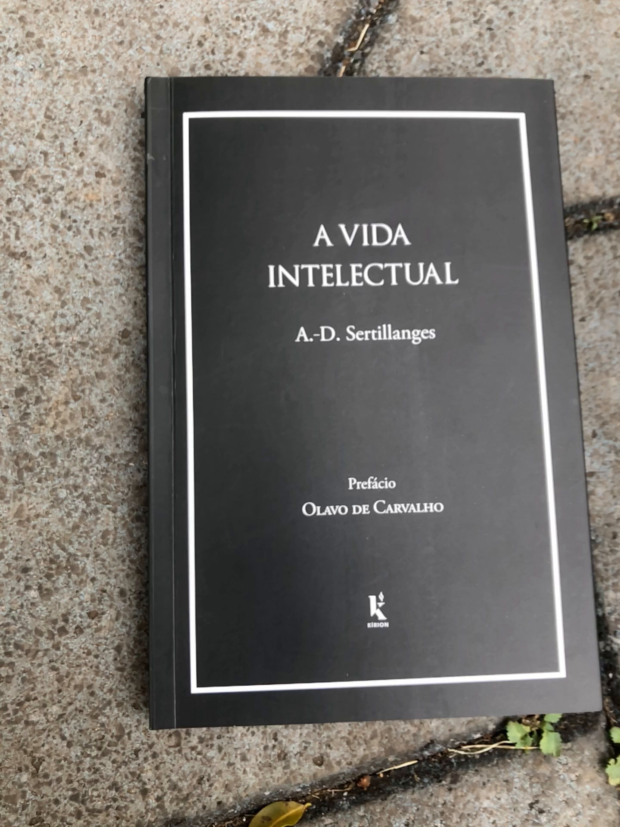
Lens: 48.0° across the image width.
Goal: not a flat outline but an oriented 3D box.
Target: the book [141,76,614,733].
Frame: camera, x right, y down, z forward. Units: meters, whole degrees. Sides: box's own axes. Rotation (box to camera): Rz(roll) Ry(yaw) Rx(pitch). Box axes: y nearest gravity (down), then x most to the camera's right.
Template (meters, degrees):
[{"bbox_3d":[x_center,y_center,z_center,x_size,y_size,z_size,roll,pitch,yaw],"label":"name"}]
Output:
[{"bbox_3d":[0.018,-0.008,0.220,0.136,0.020,0.196,-1,84,-3],"label":"book"}]
